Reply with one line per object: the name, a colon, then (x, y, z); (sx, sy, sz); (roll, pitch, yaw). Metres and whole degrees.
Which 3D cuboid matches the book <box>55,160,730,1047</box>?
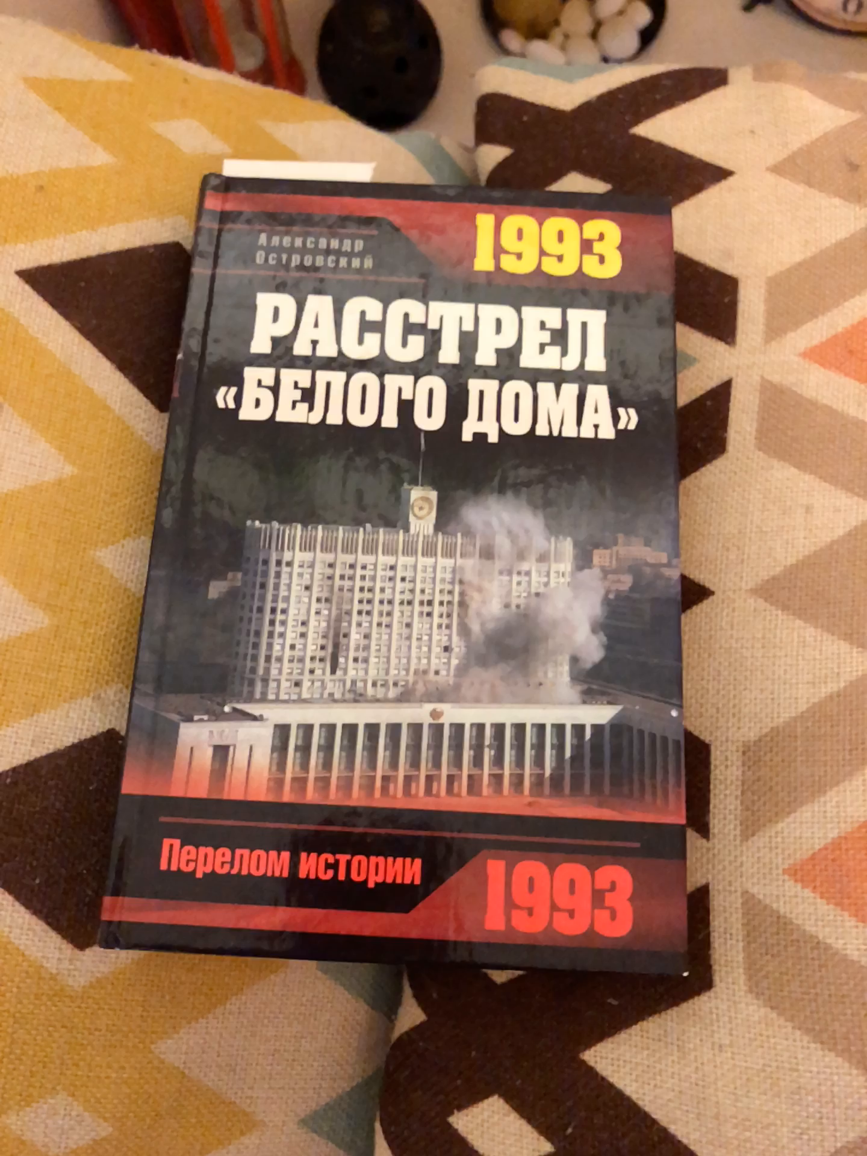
book: (-0.002, -0.005, 0.243); (0.140, 0.030, 0.210); (3, 73, 2)
